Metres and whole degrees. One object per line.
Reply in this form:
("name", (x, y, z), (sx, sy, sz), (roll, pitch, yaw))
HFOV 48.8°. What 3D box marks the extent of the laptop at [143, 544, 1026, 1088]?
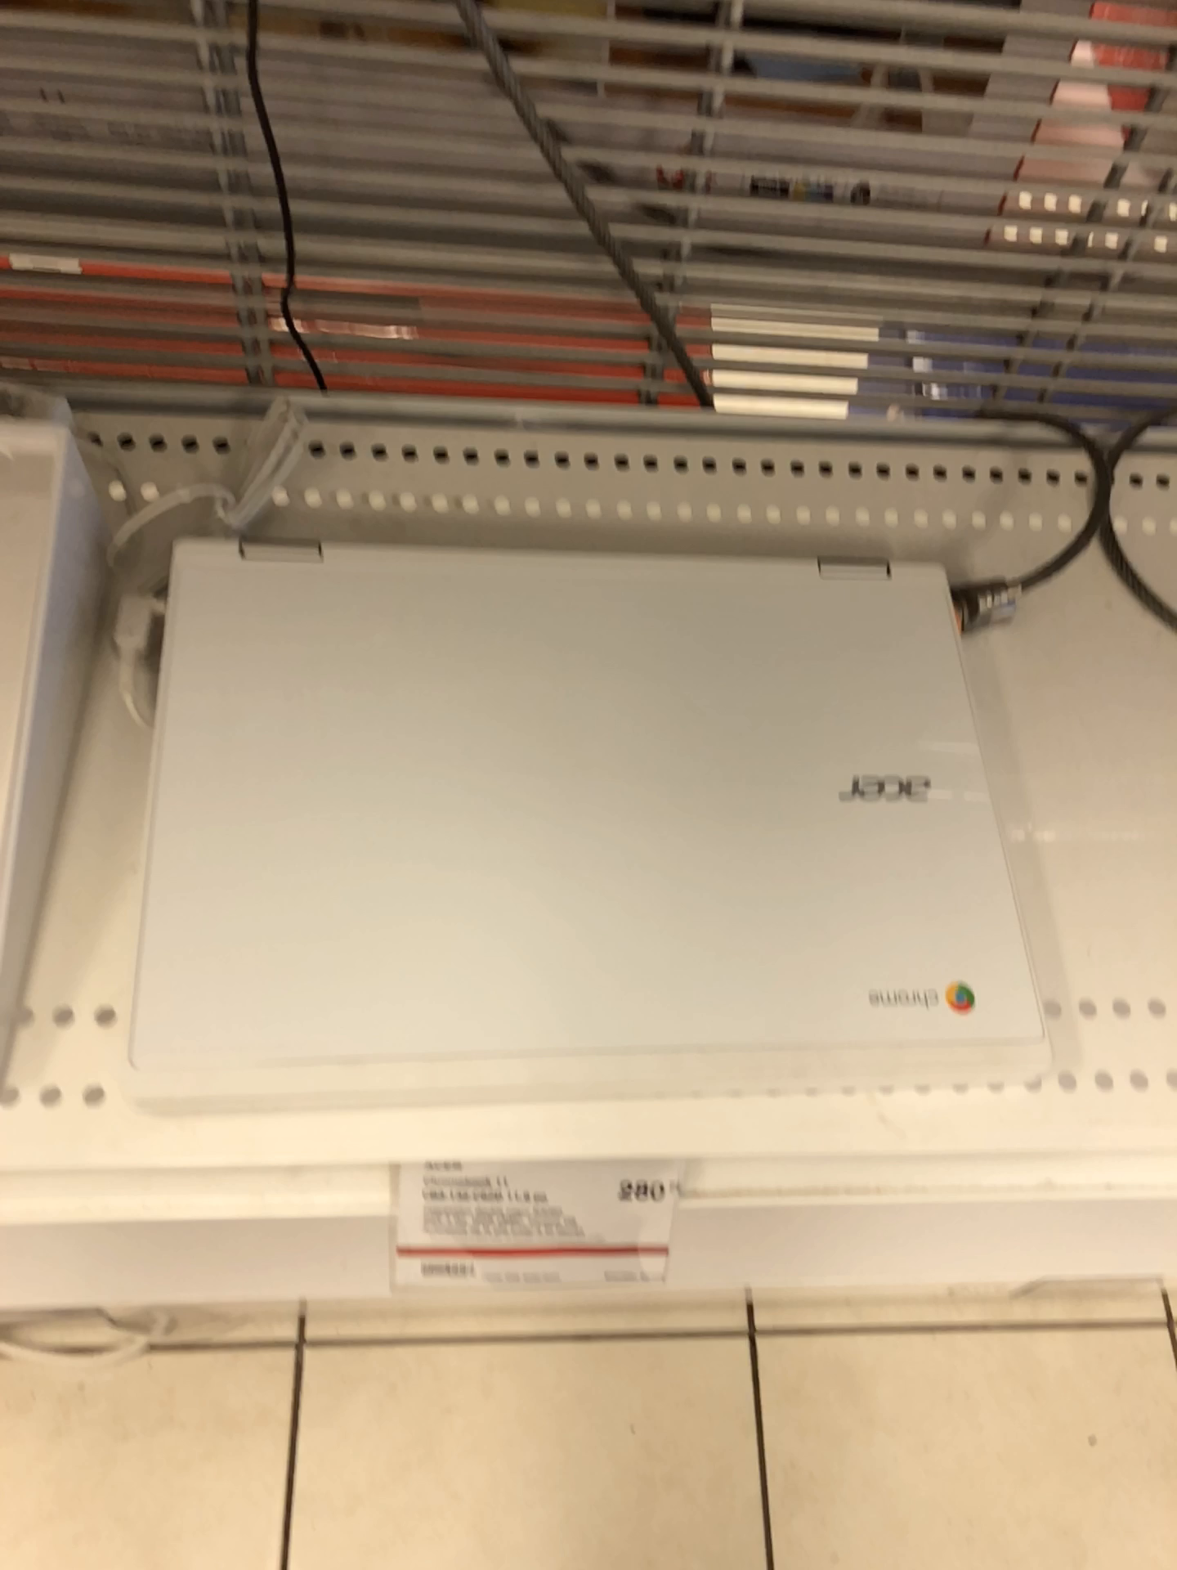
("laptop", (-0.002, 0.010, 0.458), (0.286, 0.024, 0.184), (1, 70, -7))
